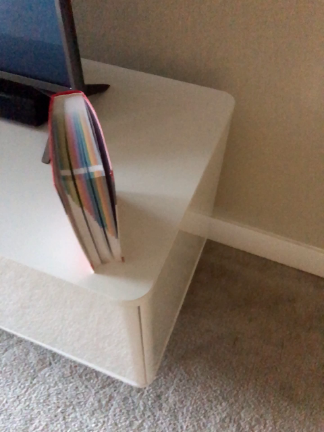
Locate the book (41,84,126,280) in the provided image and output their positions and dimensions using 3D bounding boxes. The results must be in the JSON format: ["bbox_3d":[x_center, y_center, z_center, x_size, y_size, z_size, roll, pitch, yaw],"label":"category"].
[{"bbox_3d":[-0.093,-0.037,0.445,0.060,0.179,0.151,-10,52,-10],"label":"book"}]
